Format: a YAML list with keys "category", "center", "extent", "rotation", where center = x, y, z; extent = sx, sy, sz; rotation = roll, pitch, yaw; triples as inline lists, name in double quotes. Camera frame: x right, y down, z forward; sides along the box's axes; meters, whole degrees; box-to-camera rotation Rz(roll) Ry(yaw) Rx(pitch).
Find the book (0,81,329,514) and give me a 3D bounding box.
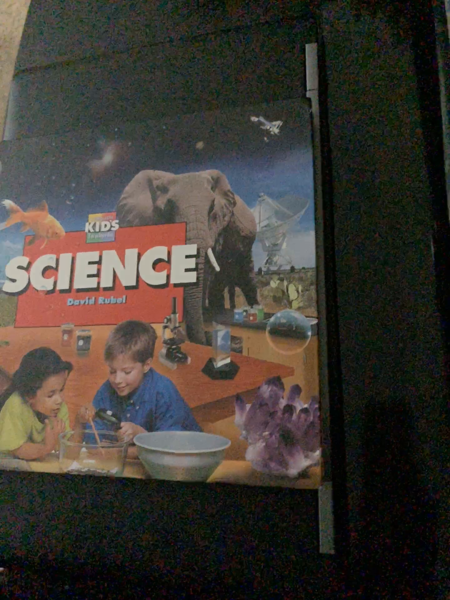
- category: "book"
  center: [-0.080, -0.005, 0.302]
  extent: [0.280, 0.030, 0.240]
  rotation: [-2, 76, 15]
